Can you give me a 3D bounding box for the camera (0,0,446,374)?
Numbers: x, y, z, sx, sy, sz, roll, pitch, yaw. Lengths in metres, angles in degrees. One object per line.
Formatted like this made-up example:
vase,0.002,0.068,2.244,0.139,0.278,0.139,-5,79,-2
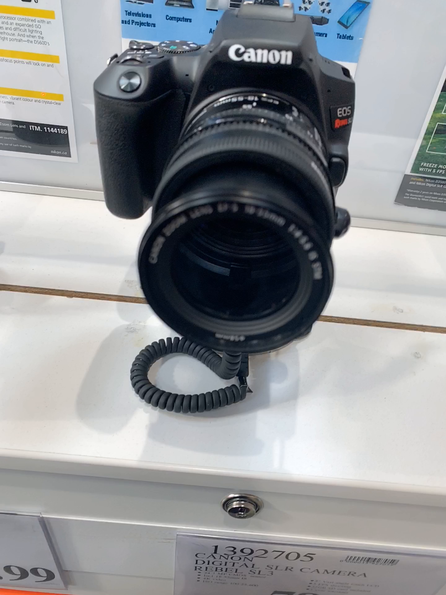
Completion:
camera,0.004,-0.056,0.173,0.119,0.079,0.141,5,38,-1
